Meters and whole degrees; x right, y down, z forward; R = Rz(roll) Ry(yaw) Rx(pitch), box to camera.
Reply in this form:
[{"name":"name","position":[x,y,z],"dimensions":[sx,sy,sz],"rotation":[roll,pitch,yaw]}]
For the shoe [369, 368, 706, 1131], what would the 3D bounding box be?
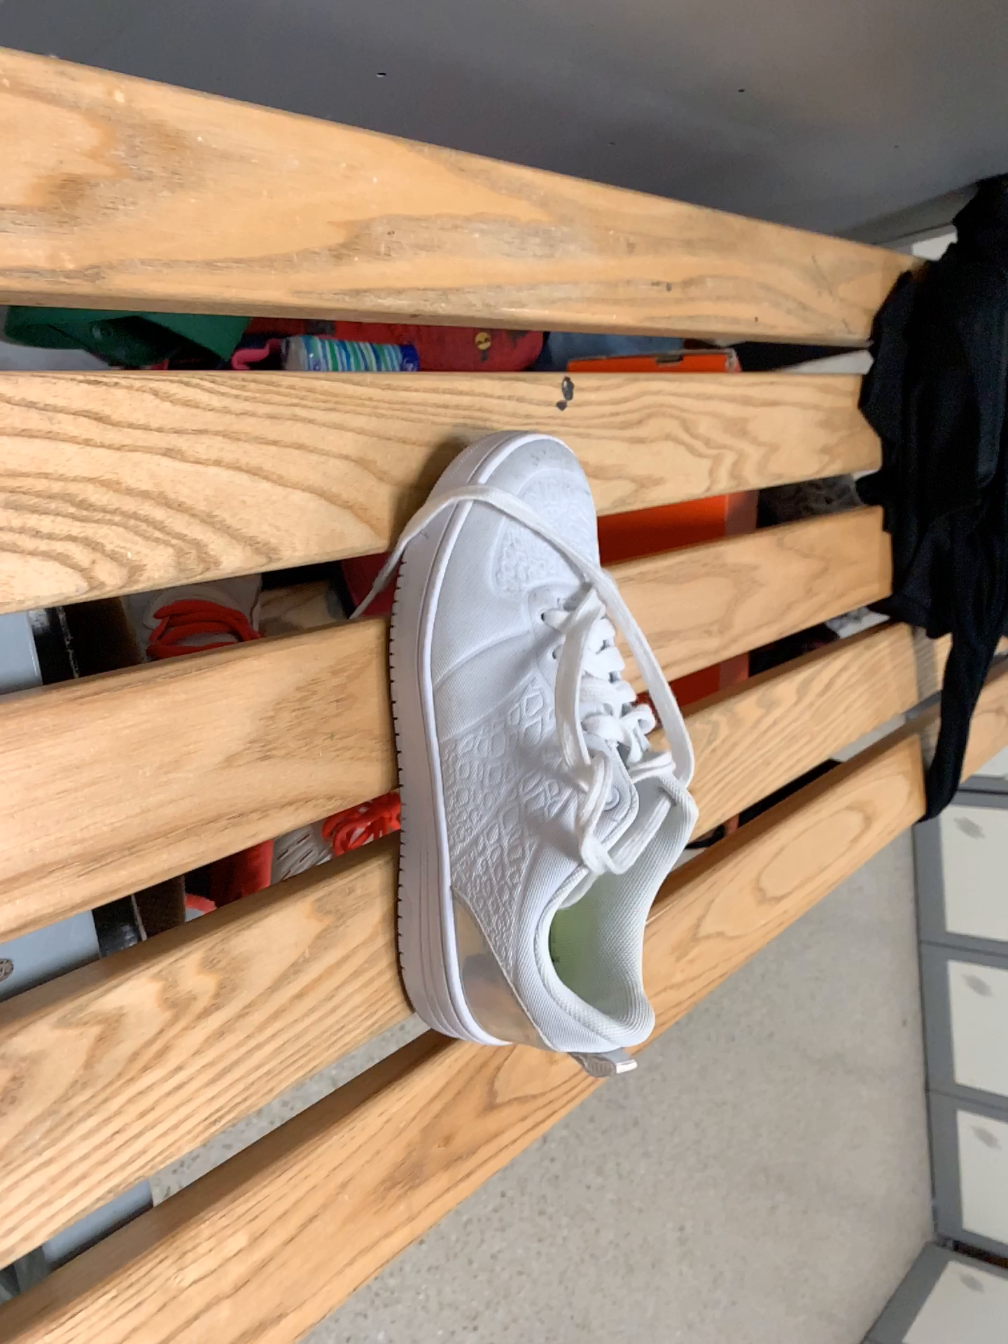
[{"name":"shoe","position":[0.016,0.024,0.401],"dimensions":[0.100,0.076,0.250],"rotation":[-4,93,-48]}]
